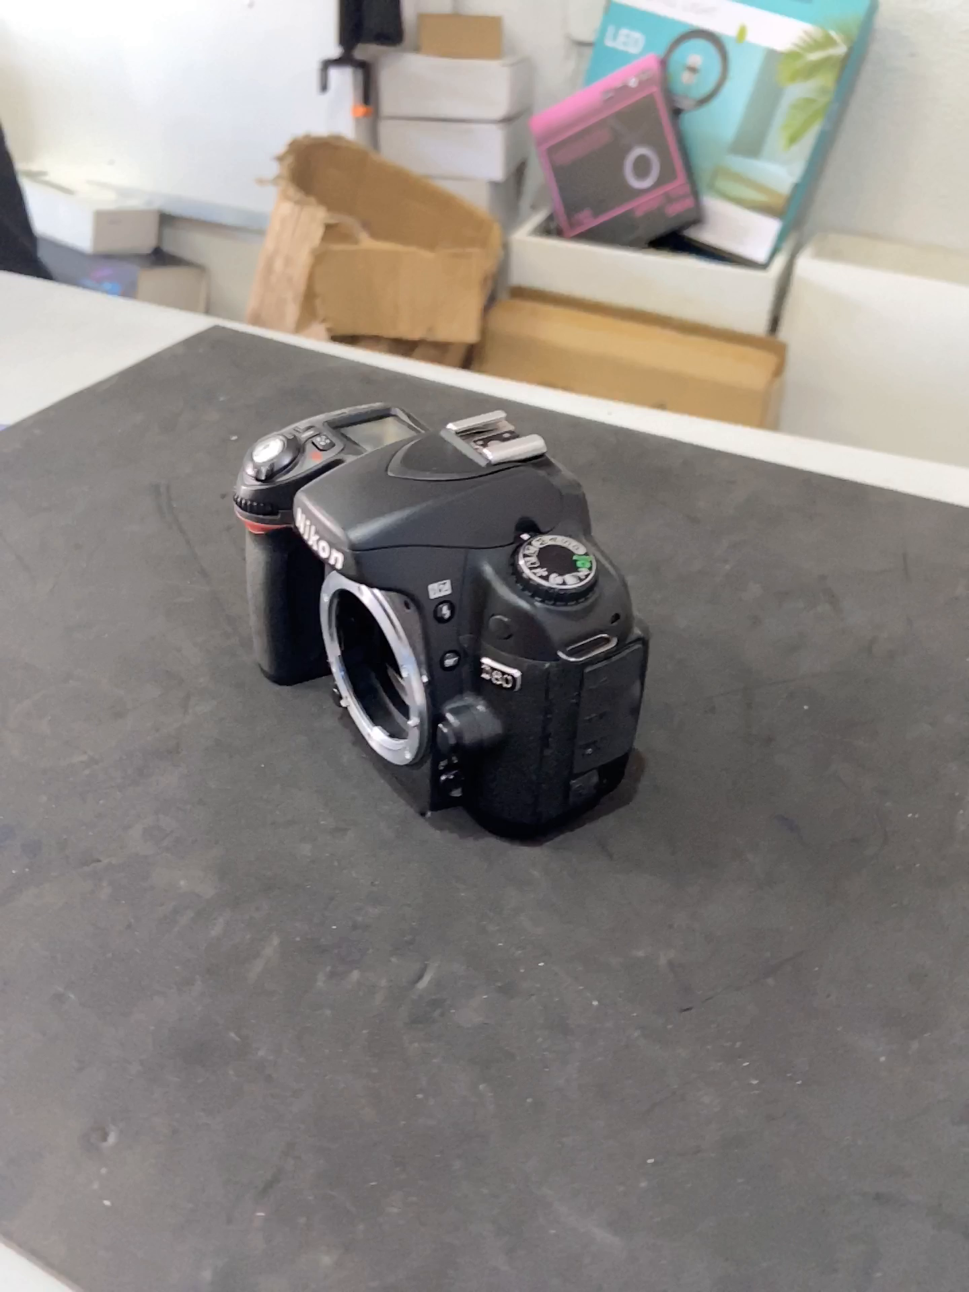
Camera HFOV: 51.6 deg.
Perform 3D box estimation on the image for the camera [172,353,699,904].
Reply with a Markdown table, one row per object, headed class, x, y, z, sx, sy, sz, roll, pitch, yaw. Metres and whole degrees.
| class | x | y | z | sx | sy | sz | roll | pitch | yaw |
| --- | --- | --- | --- | --- | --- | --- | --- | --- | --- |
| camera | -0.021 | -0.016 | 0.302 | 0.084 | 0.088 | 0.136 | -22 | 43 | -29 |
